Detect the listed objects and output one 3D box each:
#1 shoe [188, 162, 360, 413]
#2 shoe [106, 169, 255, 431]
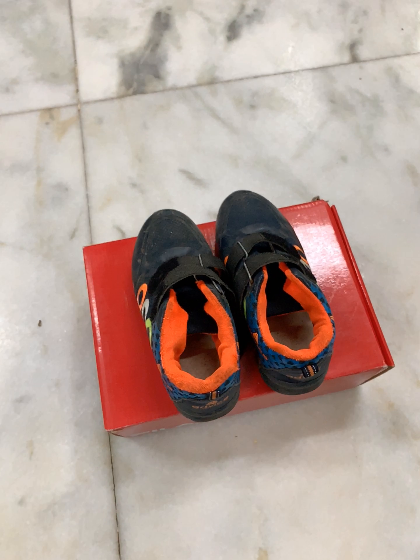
[{"bbox_3d":[0.049,0.006,0.421,0.090,0.090,0.211,-13,66,-5],"label":"shoe"},{"bbox_3d":[-0.031,0.015,0.393,0.080,0.080,0.211,-13,66,-5],"label":"shoe"}]
